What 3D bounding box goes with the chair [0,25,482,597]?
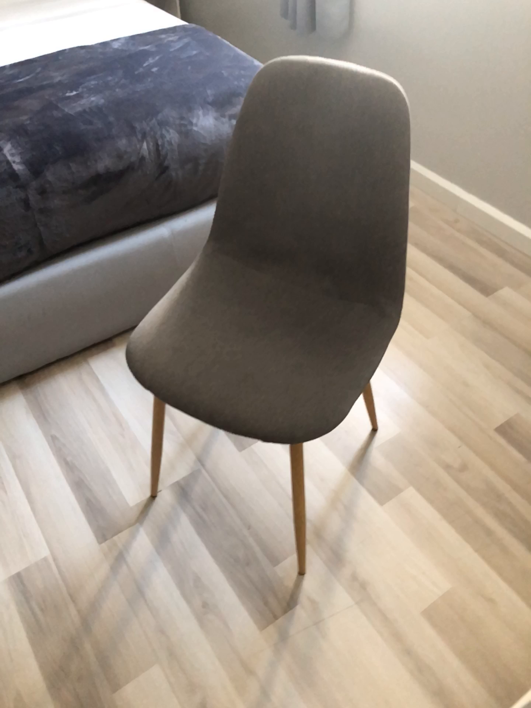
[{"bbox_3d":[-0.006,-0.063,1.096,0.470,0.786,0.573,22,51,19],"label":"chair"}]
